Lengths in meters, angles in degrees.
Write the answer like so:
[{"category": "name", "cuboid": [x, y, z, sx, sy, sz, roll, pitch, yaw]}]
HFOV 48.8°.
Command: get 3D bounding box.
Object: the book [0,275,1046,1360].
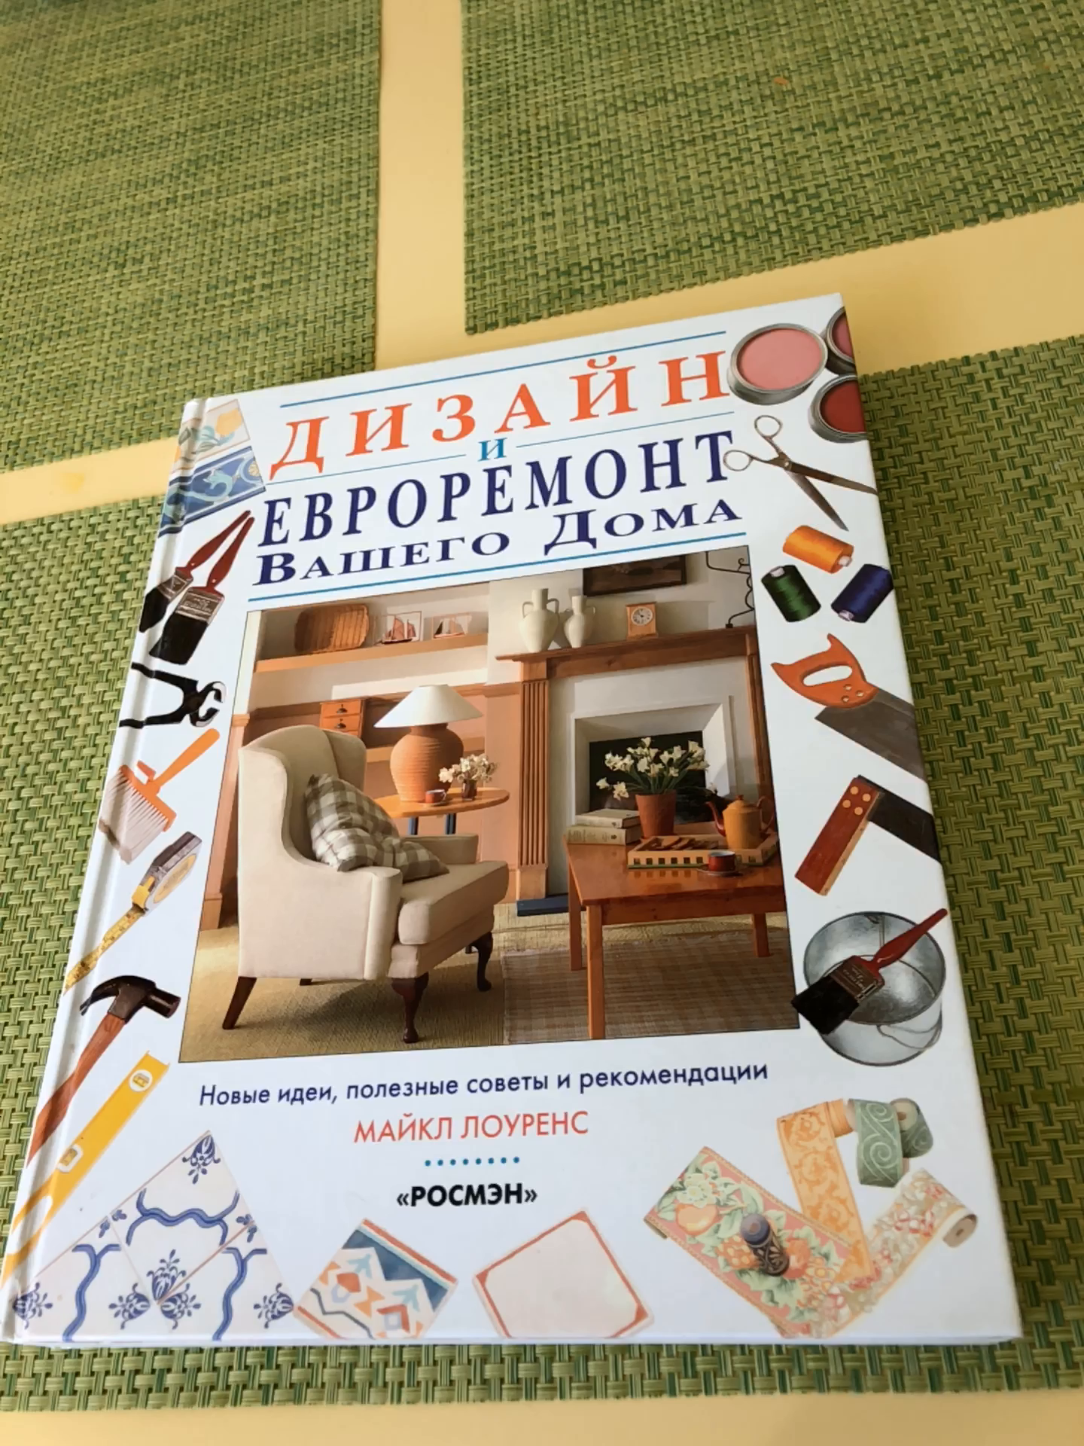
[{"category": "book", "cuboid": [-0.013, 0.008, 0.311, 0.213, 0.038, 0.277, -5, 59, 10]}]
